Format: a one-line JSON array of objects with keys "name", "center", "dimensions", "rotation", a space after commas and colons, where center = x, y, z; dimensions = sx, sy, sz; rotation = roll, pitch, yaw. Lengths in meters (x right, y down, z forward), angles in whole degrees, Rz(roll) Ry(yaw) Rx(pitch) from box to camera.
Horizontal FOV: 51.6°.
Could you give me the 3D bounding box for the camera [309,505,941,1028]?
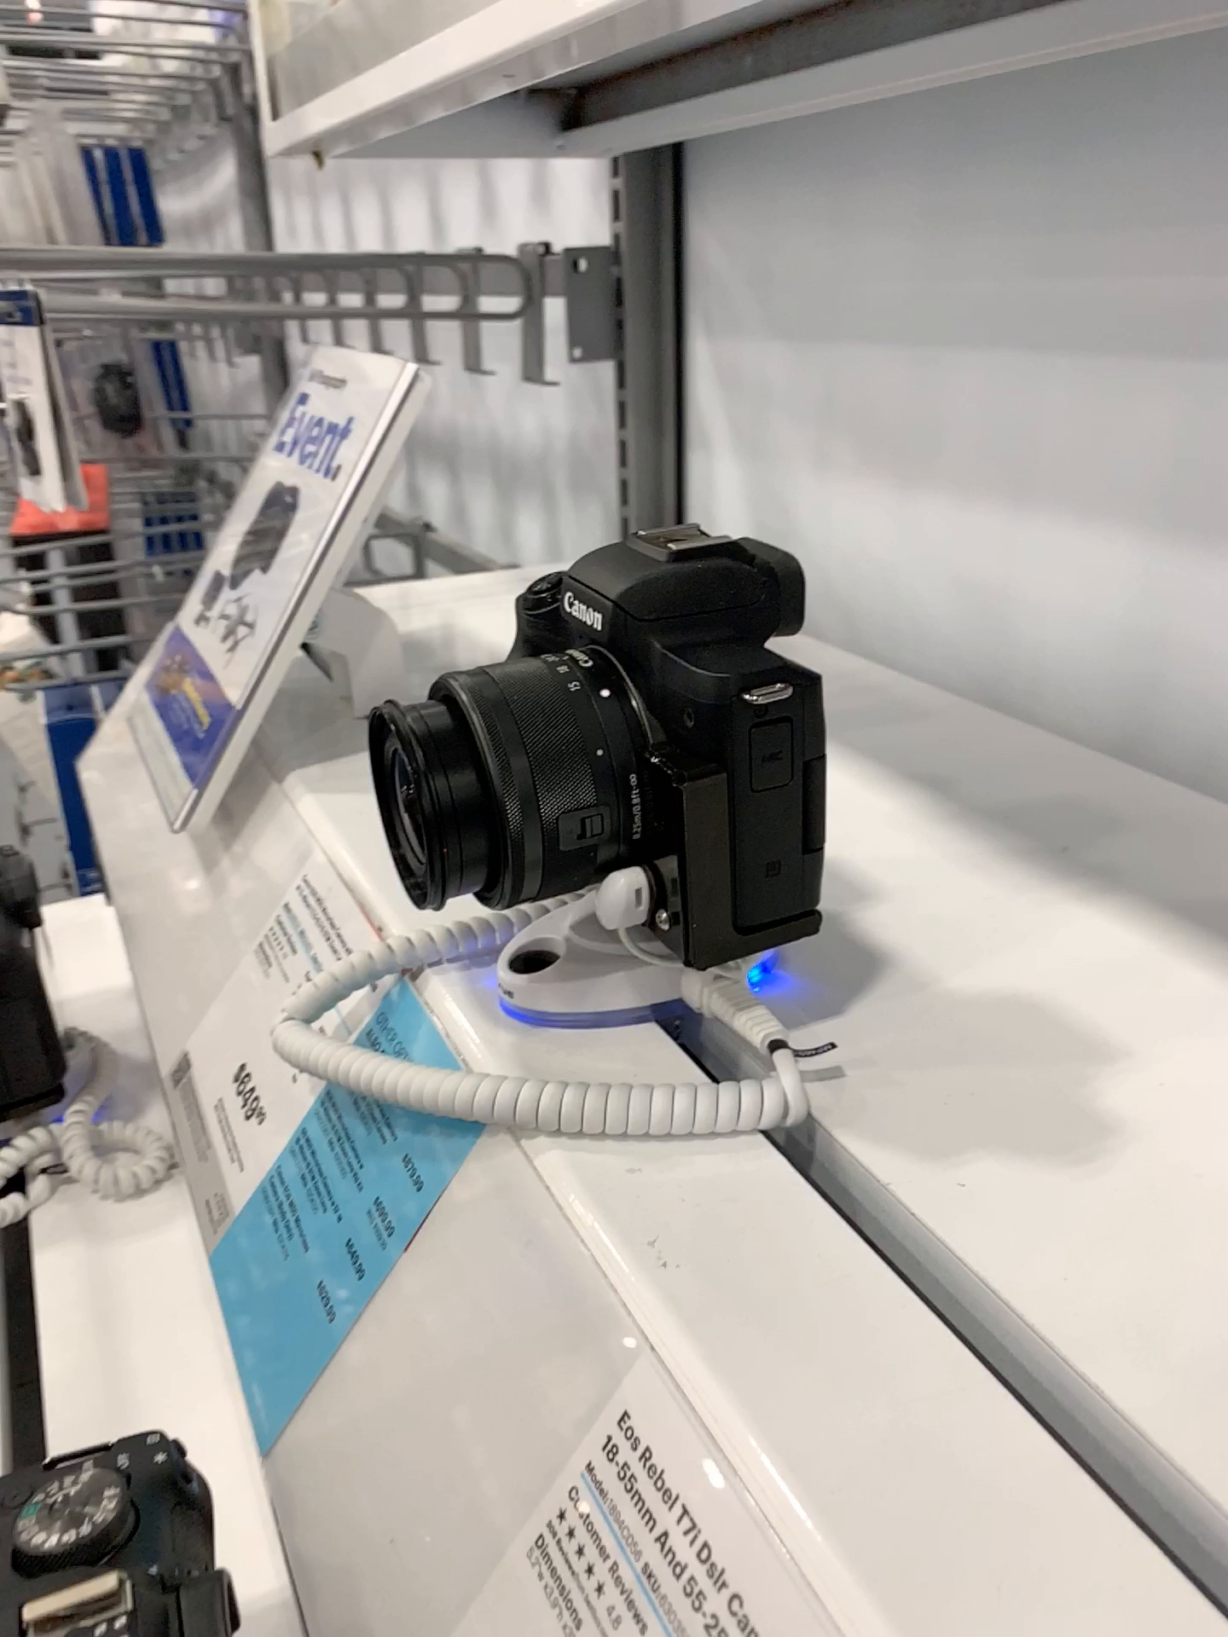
[{"name": "camera", "center": [-0.005, -0.026, 0.326], "dimensions": [0.110, 0.080, 0.131], "rotation": [-12, 25, -22]}]
